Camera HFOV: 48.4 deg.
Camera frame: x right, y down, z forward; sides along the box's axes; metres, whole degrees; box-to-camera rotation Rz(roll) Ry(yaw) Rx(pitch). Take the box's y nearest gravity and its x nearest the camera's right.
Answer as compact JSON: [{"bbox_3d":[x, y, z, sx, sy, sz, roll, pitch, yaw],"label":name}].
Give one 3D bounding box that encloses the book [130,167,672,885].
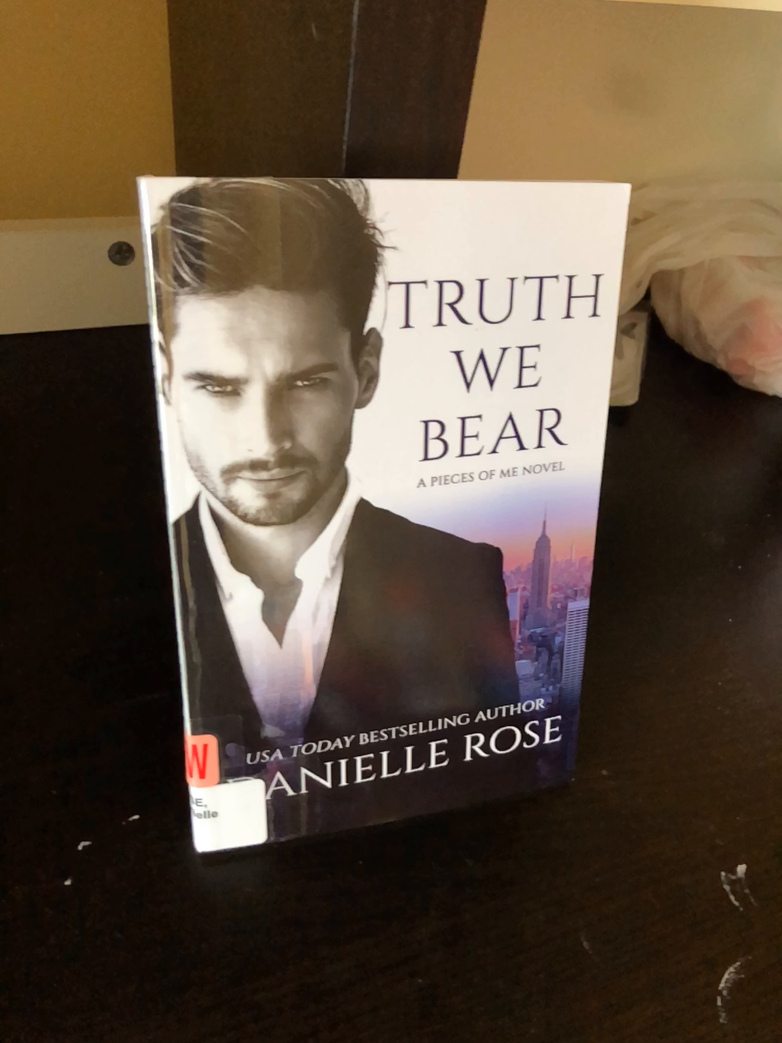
[{"bbox_3d":[0.005,0.006,0.279,0.150,0.220,0.020,-7,24,-19],"label":"book"}]
